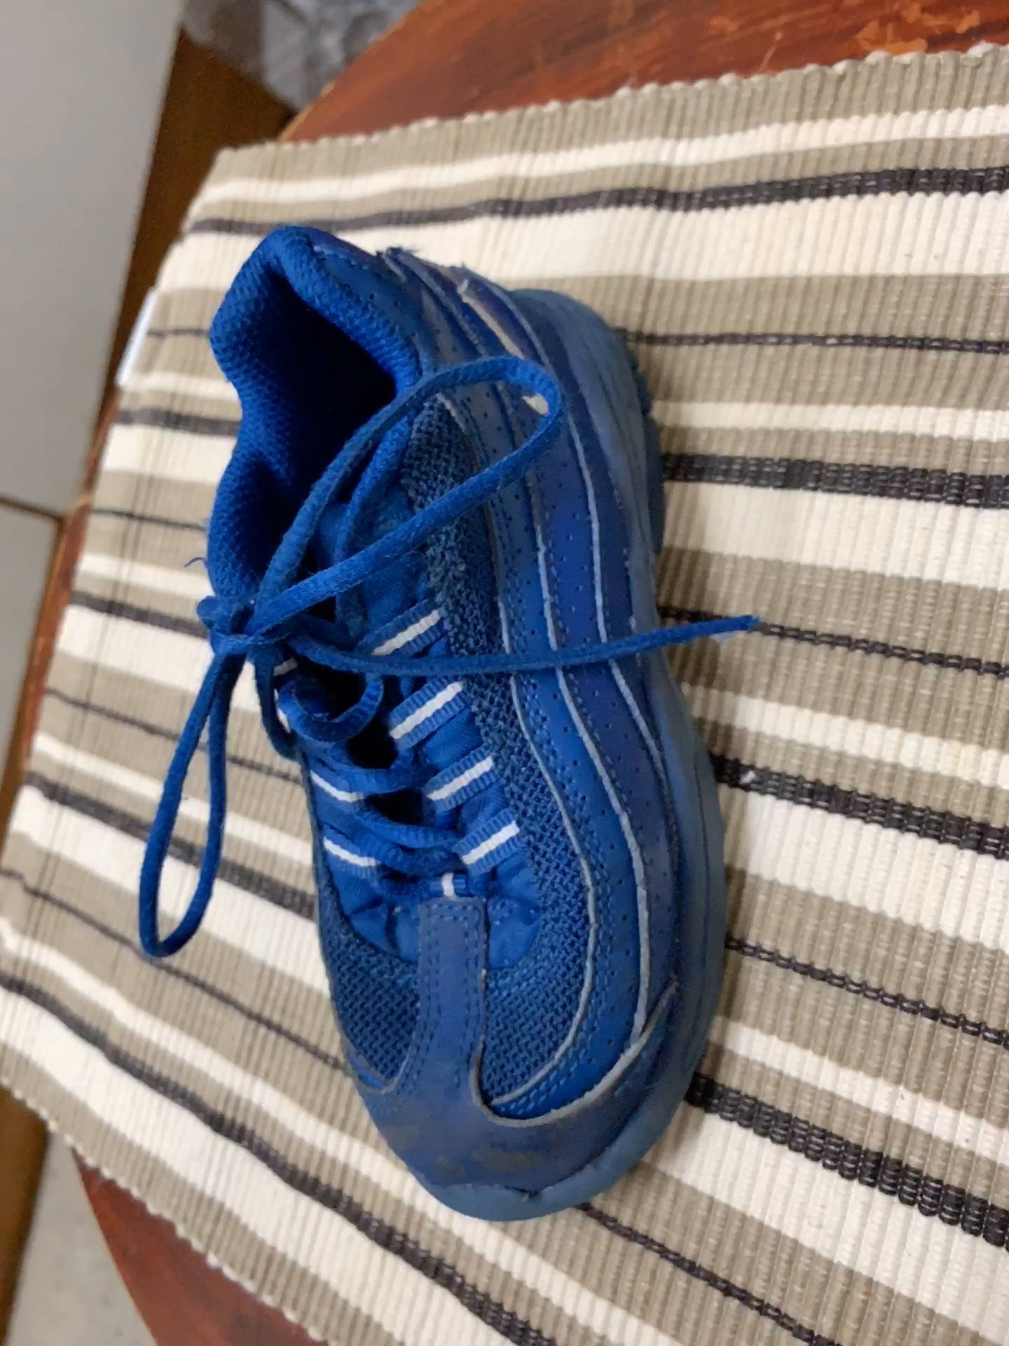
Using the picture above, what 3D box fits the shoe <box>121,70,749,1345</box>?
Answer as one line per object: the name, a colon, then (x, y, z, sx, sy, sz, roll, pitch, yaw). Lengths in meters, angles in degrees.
shoe: (-0.007, 0.005, 0.197, 0.073, 0.079, 0.175, -6, 77, 34)
